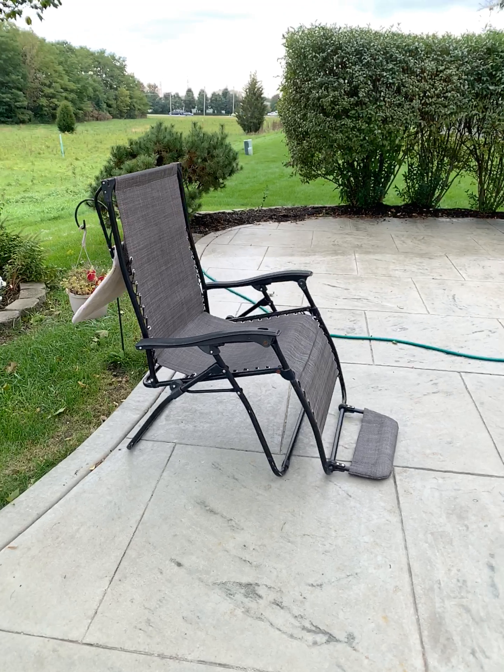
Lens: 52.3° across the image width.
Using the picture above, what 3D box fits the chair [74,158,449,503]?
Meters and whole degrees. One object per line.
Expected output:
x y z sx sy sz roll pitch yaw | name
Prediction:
0.062 -0.108 2.059 1.144 1.057 0.747 7 23 12 | chair
